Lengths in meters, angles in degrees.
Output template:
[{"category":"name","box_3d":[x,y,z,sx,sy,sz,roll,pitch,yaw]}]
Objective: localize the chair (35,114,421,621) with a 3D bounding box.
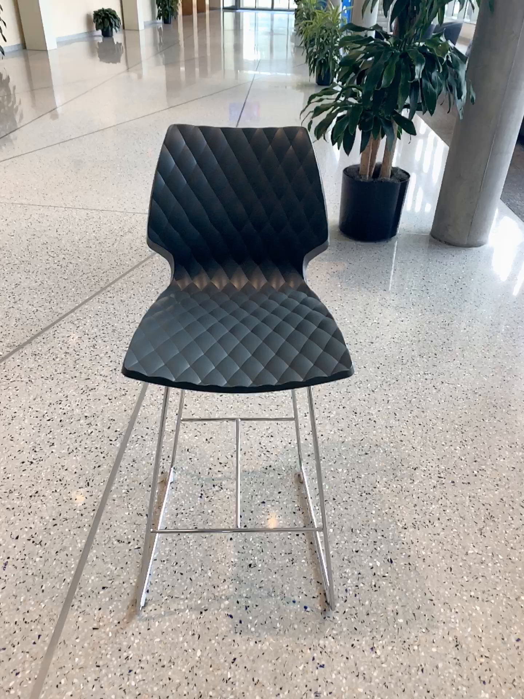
[{"category":"chair","box_3d":[-0.064,0.074,1.255,0.531,1.048,0.551,1,33,-2]}]
